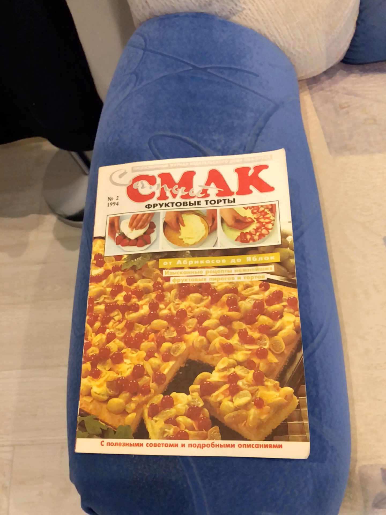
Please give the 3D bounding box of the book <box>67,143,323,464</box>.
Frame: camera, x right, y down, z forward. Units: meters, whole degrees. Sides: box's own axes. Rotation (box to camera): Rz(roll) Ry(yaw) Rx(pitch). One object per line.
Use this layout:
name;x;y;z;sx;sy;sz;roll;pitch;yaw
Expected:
book;-0.002;0.024;0.326;0.171;0.010;0.236;-3;70;10
